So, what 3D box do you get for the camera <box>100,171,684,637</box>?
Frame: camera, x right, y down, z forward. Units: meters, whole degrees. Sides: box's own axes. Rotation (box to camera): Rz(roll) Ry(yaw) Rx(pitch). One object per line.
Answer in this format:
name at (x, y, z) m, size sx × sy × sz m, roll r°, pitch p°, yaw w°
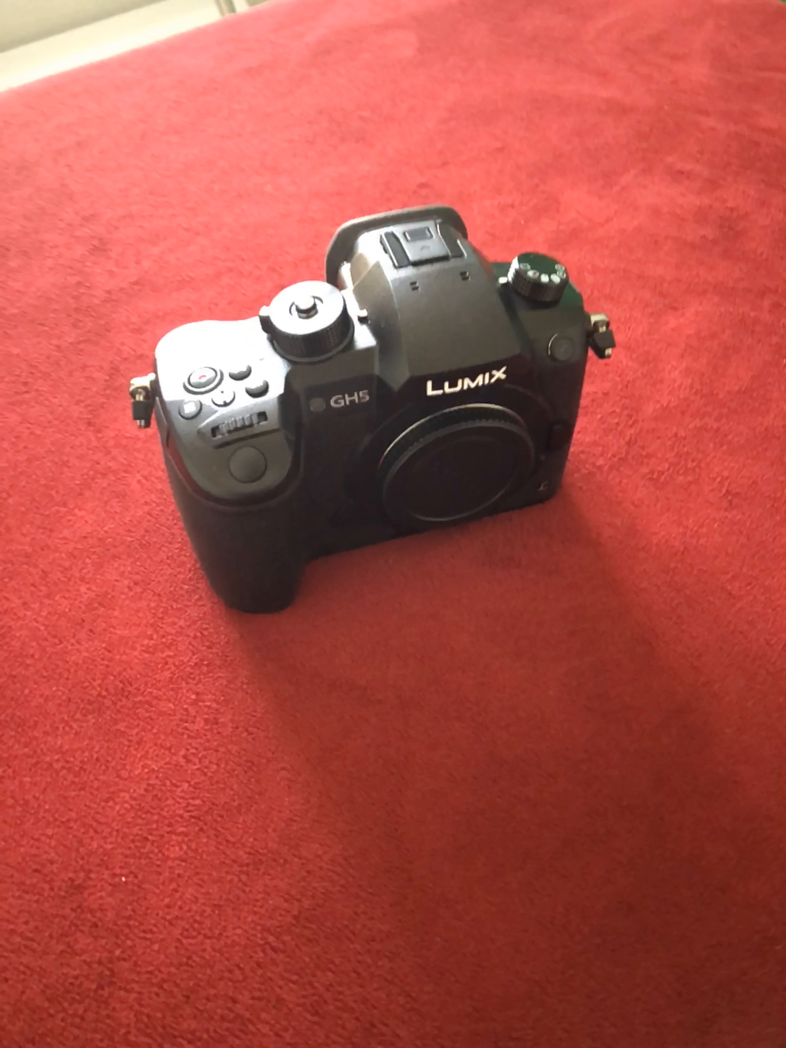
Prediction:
camera at (-0.004, -0.039, 0.281) m, size 0.148 × 0.087 × 0.086 m, roll -13°, pitch 53°, yaw -9°
